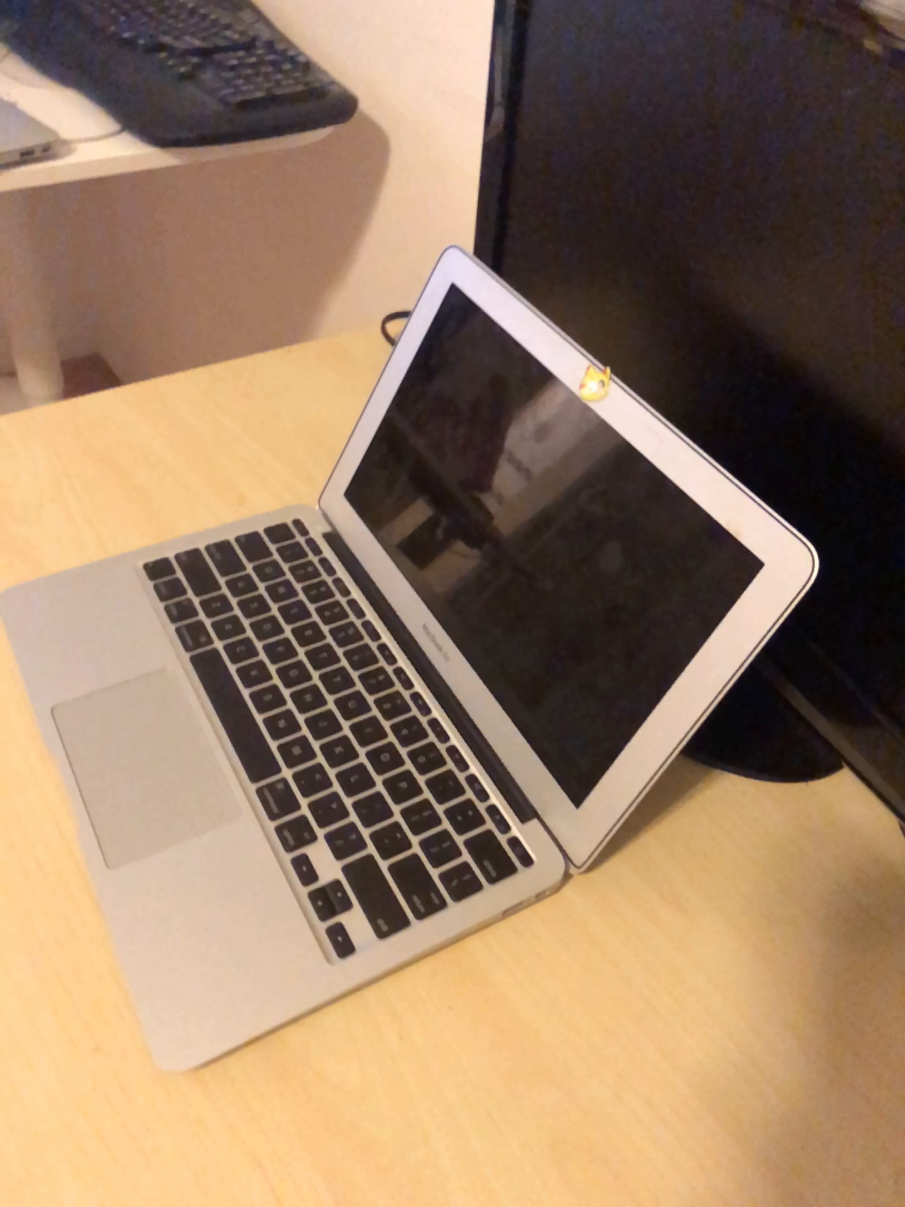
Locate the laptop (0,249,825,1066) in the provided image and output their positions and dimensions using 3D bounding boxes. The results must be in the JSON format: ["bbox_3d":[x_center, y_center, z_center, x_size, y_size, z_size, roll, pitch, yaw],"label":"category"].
[{"bbox_3d":[-0.054,-0.009,0.474,0.275,0.161,0.291,-19,49,-24],"label":"laptop"}]
